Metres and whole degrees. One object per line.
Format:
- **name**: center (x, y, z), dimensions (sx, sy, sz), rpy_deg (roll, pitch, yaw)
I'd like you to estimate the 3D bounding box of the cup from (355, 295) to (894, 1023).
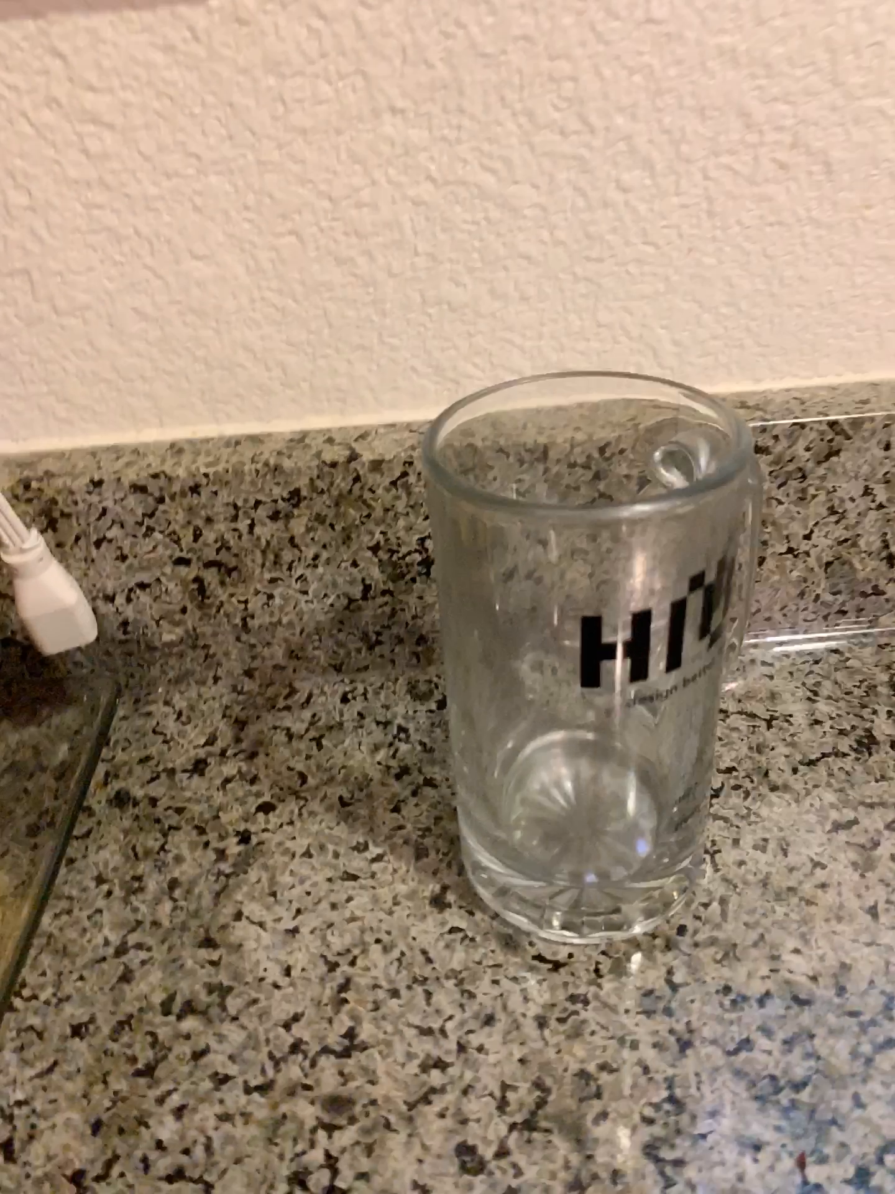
- **cup**: center (0.054, 0.013, 0.273), dimensions (0.121, 0.158, 0.080), rpy_deg (-31, 42, -33)
